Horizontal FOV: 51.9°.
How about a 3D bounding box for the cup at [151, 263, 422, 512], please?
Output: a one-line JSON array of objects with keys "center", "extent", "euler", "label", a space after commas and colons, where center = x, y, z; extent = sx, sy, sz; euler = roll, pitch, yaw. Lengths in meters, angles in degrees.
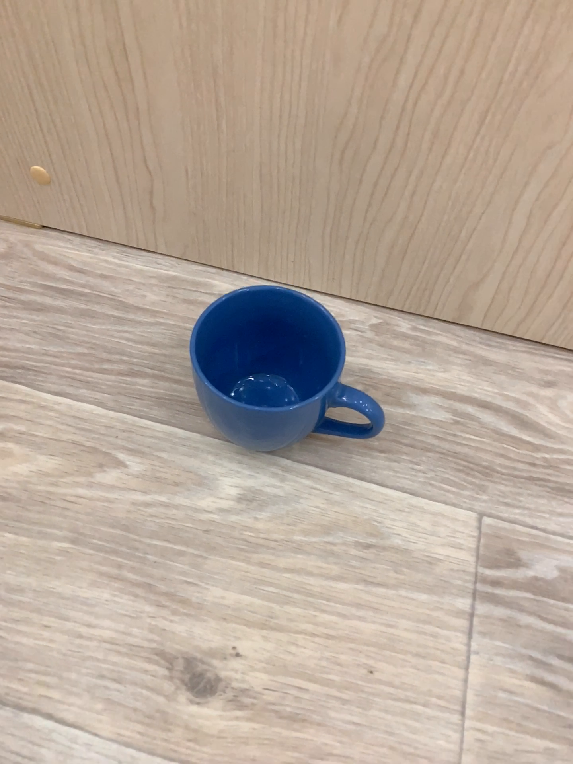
[{"center": [0.000, 0.003, 0.328], "extent": [0.117, 0.074, 0.078], "euler": [19, 56, 8], "label": "cup"}]
